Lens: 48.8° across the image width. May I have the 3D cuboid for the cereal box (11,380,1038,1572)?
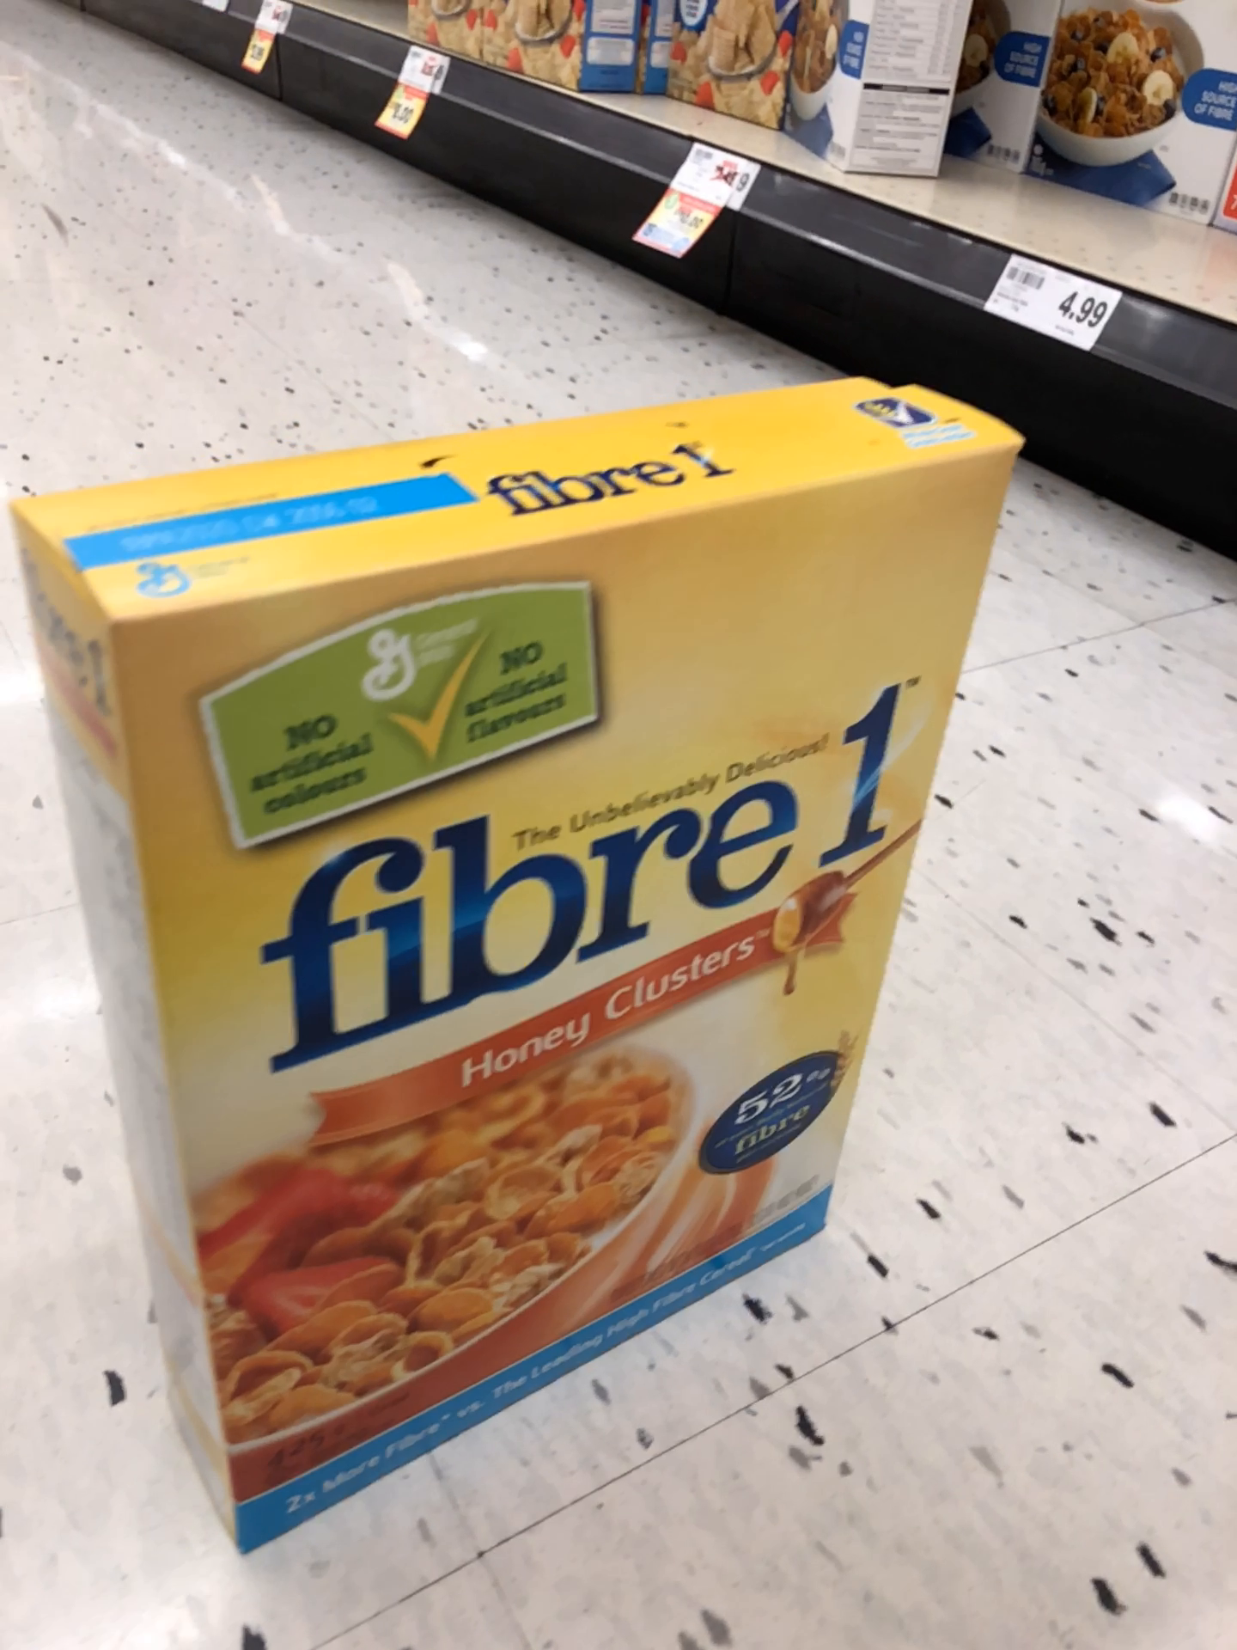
[{"bbox_3d":[-0.016,0.038,0.320,0.191,0.248,0.050,-18,41,-31],"label":"cereal box"}]
